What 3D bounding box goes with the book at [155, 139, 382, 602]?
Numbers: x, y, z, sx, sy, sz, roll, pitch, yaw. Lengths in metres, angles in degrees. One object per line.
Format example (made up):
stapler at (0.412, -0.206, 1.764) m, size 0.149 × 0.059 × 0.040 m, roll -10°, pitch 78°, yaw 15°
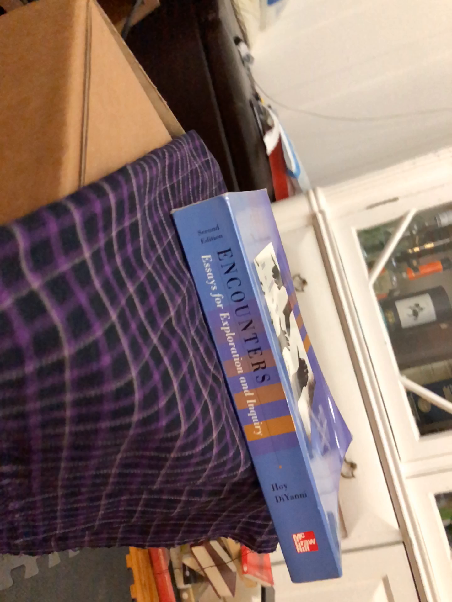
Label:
book at (0.042, 0.029, 0.353) m, size 0.201 × 0.040 × 0.260 m, roll -55°, pitch 127°, yaw -73°
